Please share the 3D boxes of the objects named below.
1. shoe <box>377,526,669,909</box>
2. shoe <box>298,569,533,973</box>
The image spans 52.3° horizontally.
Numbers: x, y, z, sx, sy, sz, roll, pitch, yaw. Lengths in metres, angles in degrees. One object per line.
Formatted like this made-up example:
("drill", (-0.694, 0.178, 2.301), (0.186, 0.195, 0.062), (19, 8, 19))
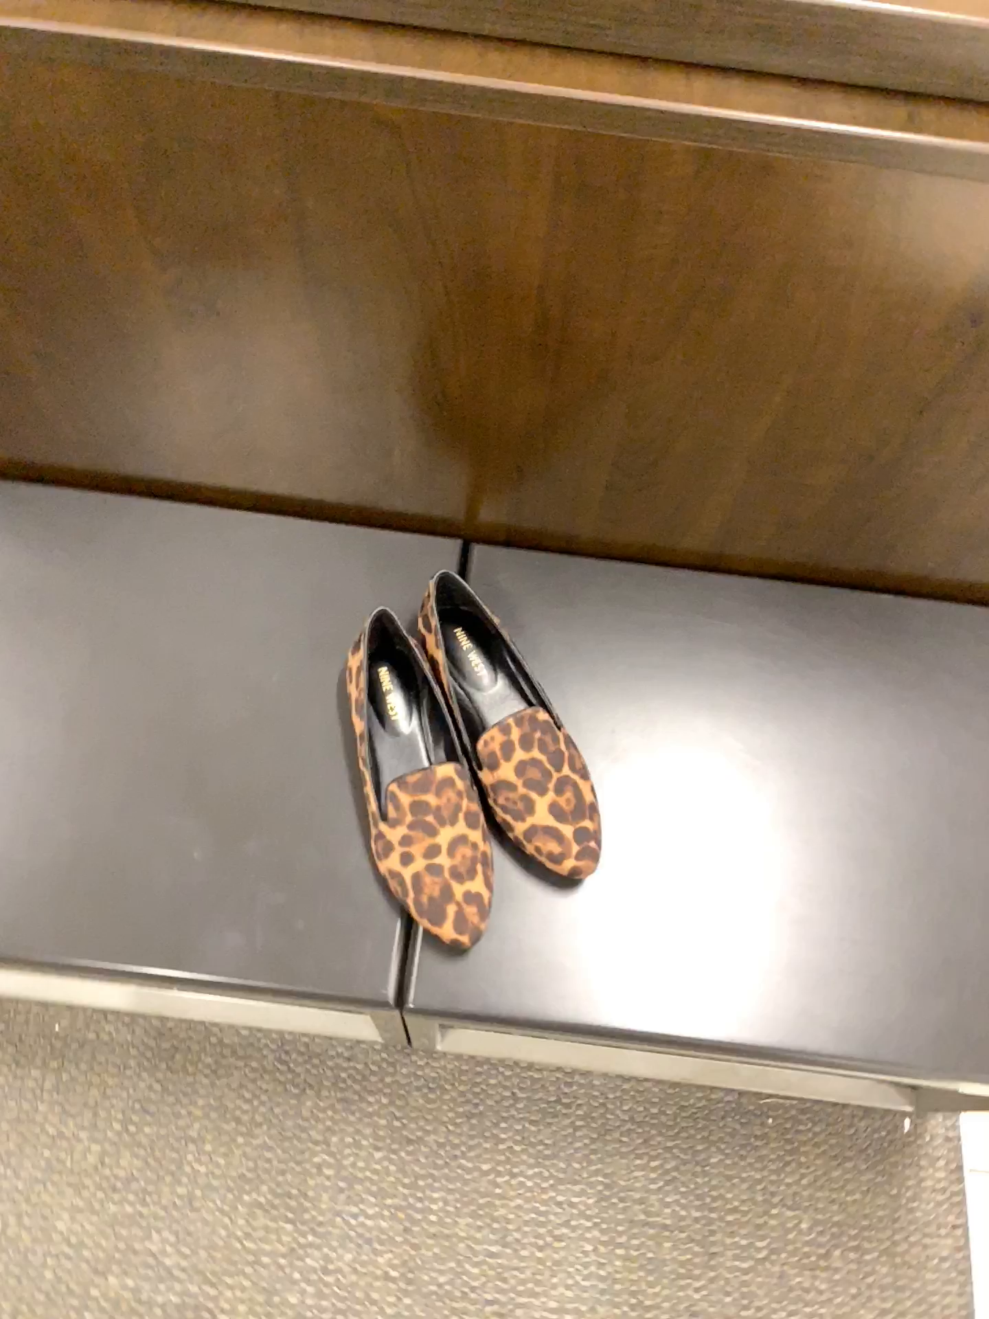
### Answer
("shoe", (0.012, 0.040, 0.727), (0.090, 0.090, 0.247), (-25, 70, -15))
("shoe", (-0.059, 0.074, 0.696), (0.090, 0.090, 0.247), (-14, 67, -10))
